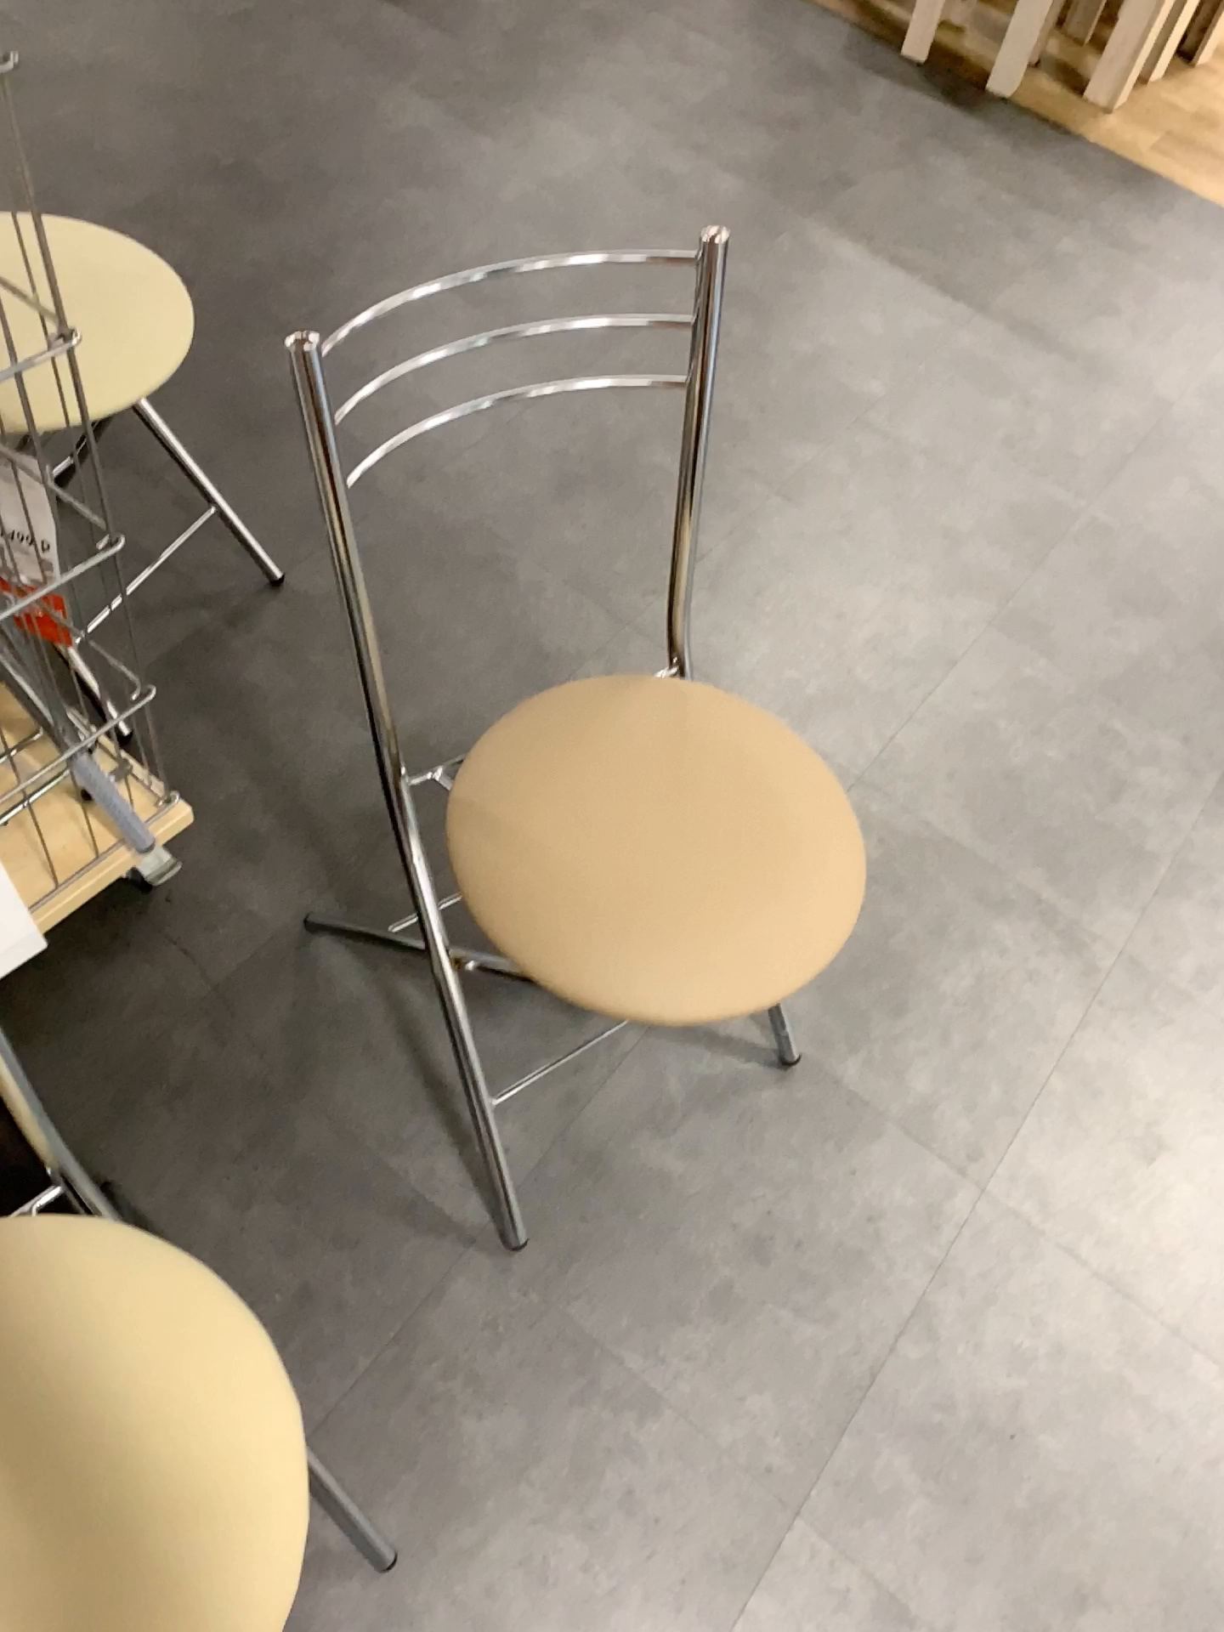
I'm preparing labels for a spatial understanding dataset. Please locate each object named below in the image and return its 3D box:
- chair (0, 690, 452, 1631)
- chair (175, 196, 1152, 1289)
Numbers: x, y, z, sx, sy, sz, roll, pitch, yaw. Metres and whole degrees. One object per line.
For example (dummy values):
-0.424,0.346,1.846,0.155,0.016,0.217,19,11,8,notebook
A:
-0.477,0.448,0.761,0.490,0.777,0.522,40,58,16,chair
-0.026,-0.008,1.143,0.441,0.797,0.491,-28,66,-26,chair
